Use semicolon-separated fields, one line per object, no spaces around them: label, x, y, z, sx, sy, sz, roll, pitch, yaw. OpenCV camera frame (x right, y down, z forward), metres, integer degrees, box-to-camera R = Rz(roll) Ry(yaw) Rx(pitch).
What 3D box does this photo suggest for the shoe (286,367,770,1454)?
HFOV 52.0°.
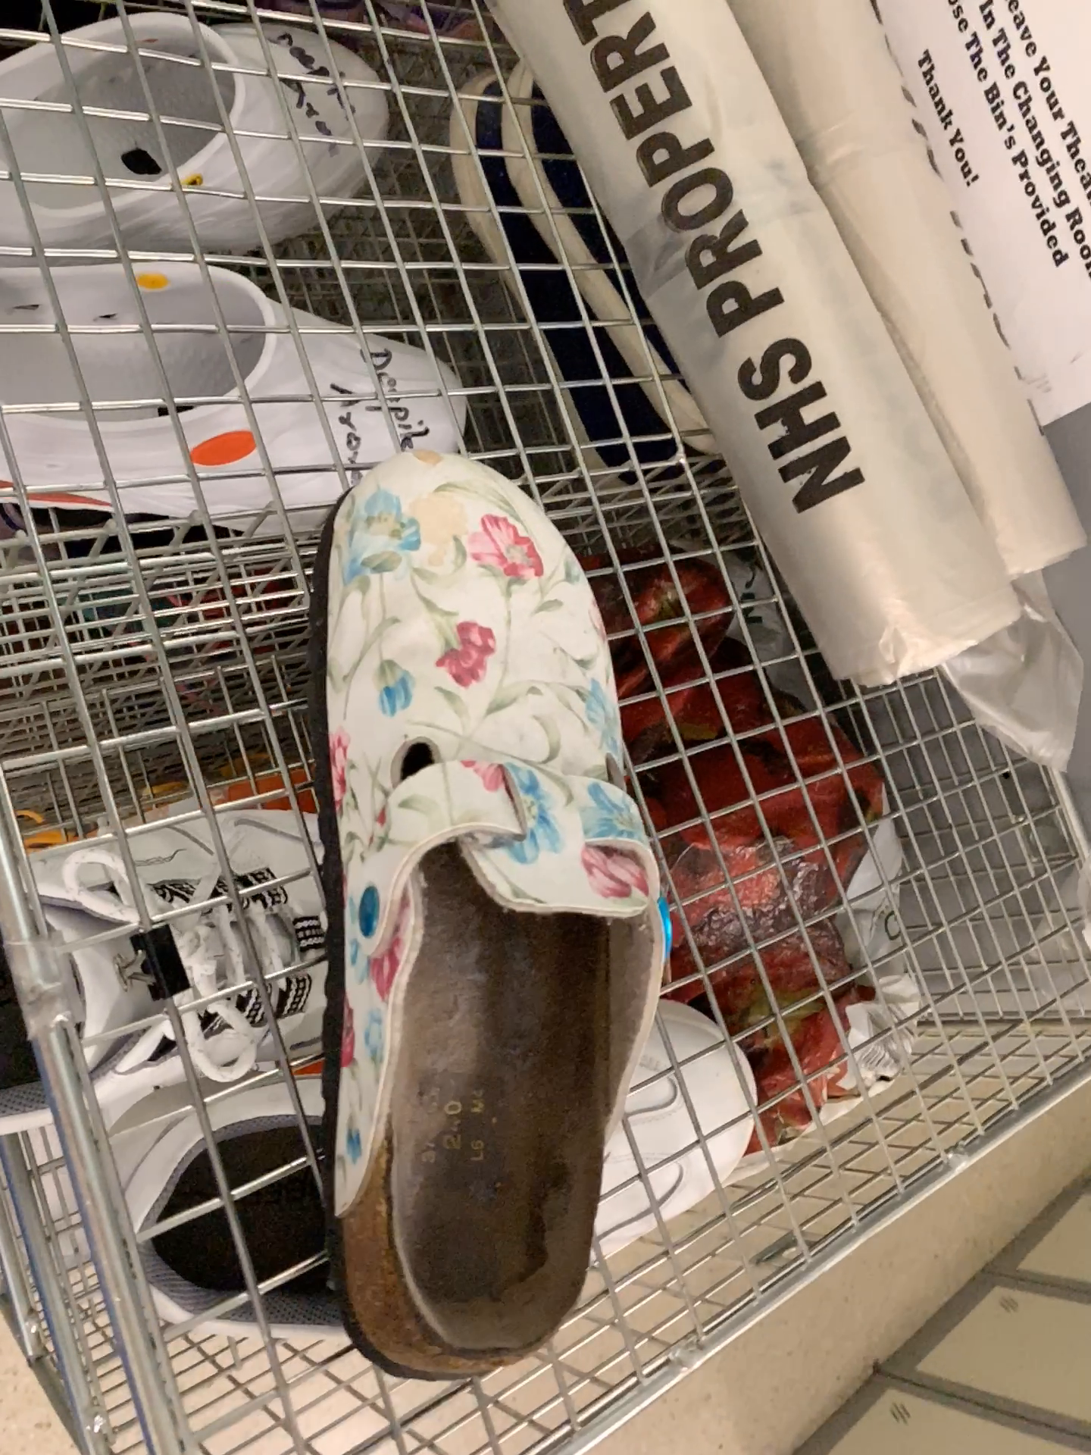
shoe;-0.012;0.044;0.312;0.100;0.070;0.259;5;74;-30
